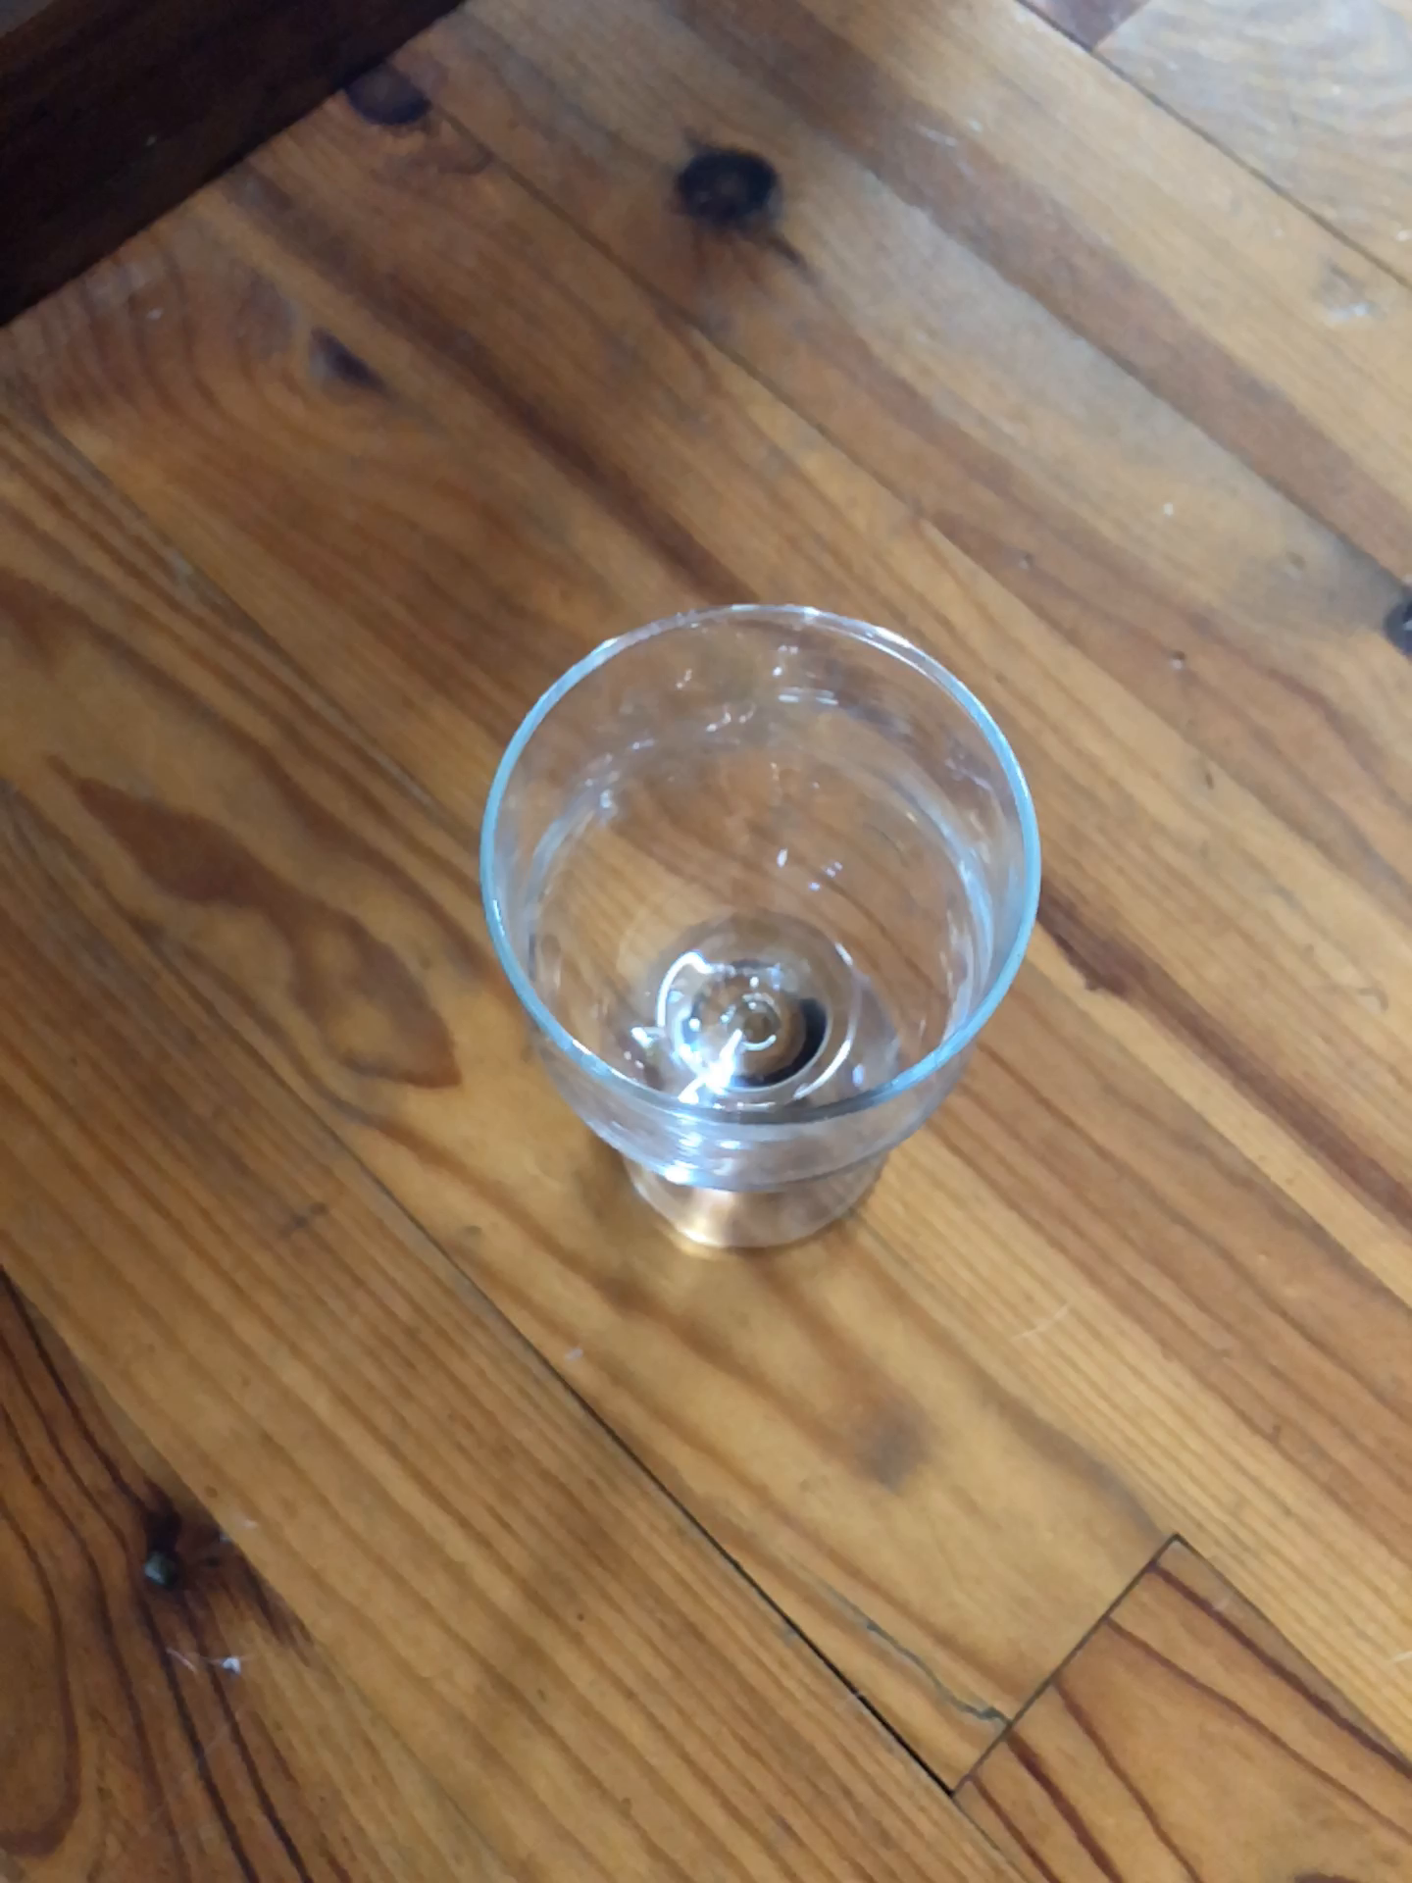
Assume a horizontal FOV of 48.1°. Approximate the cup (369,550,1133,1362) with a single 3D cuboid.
[{"bbox_3d":[0.009,0.018,0.272,0.076,0.157,0.082,0,73,1],"label":"cup"}]
